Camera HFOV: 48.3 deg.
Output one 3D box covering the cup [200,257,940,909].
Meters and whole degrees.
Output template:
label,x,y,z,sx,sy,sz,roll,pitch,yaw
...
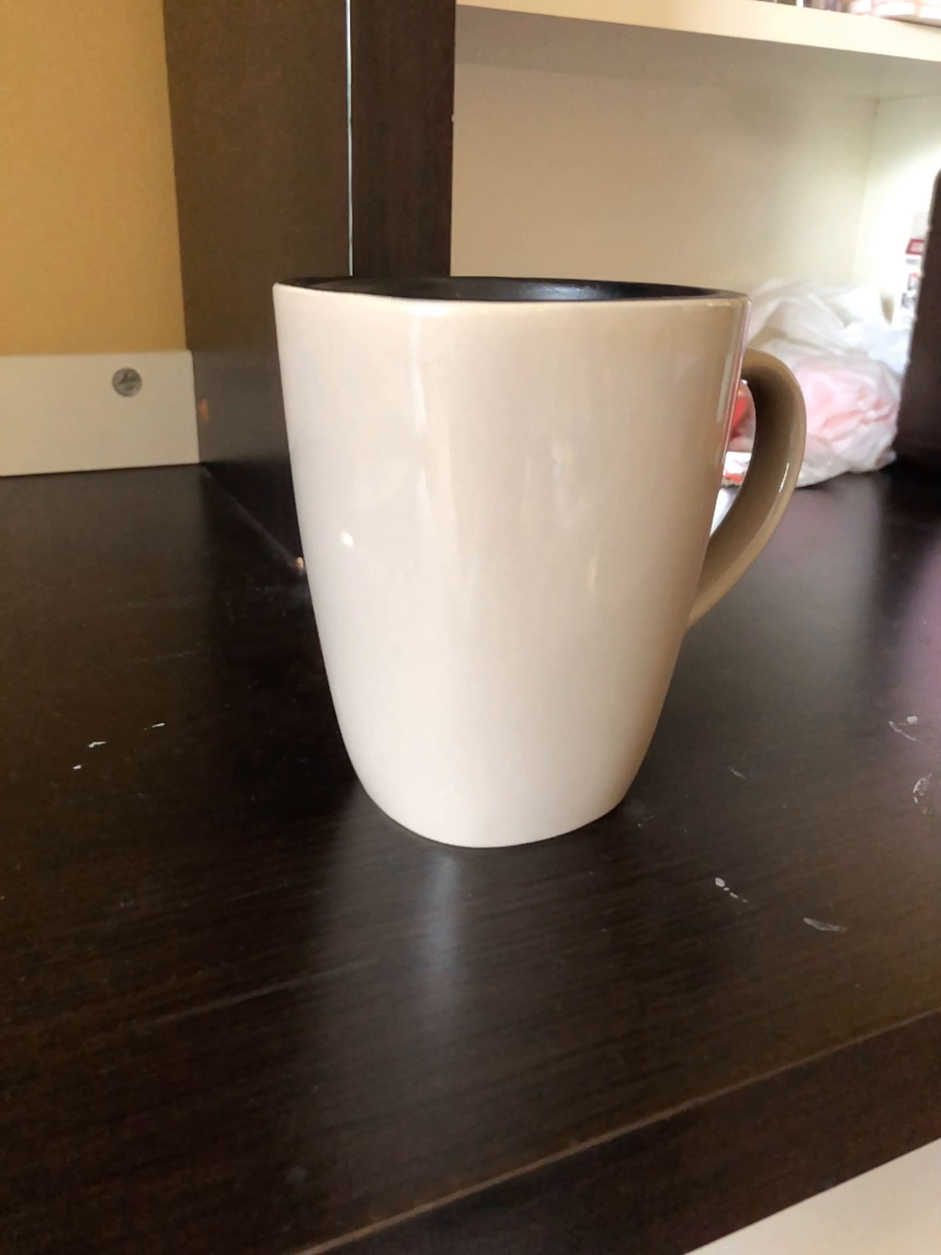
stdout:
label,x,y,z,sx,sy,sz,roll,pitch,yaw
cup,0.018,-0.025,0.248,0.130,0.110,0.100,-10,25,-29
